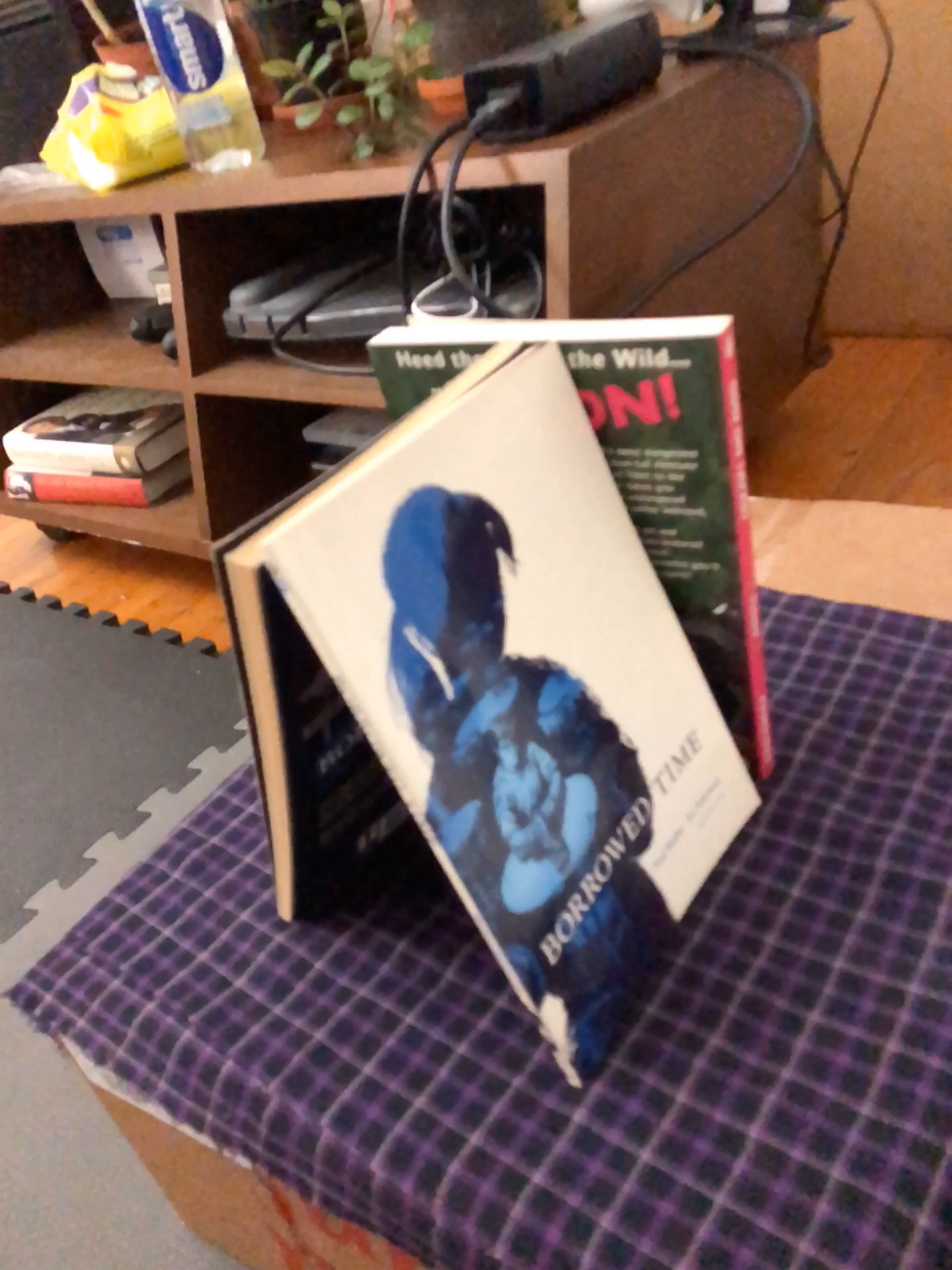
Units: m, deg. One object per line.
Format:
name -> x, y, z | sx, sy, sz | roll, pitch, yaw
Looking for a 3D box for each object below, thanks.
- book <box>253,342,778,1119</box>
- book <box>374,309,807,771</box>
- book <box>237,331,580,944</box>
book -> 0.031, 0.026, 0.333 | 0.010, 0.199, 0.140 | -8, 26, 45
book -> 0.050, -0.034, 0.408 | 0.140, 0.189, 0.020 | 11, 47, 33
book -> -0.020, 0.009, 0.383 | 0.010, 0.199, 0.151 | 30, 51, 22
